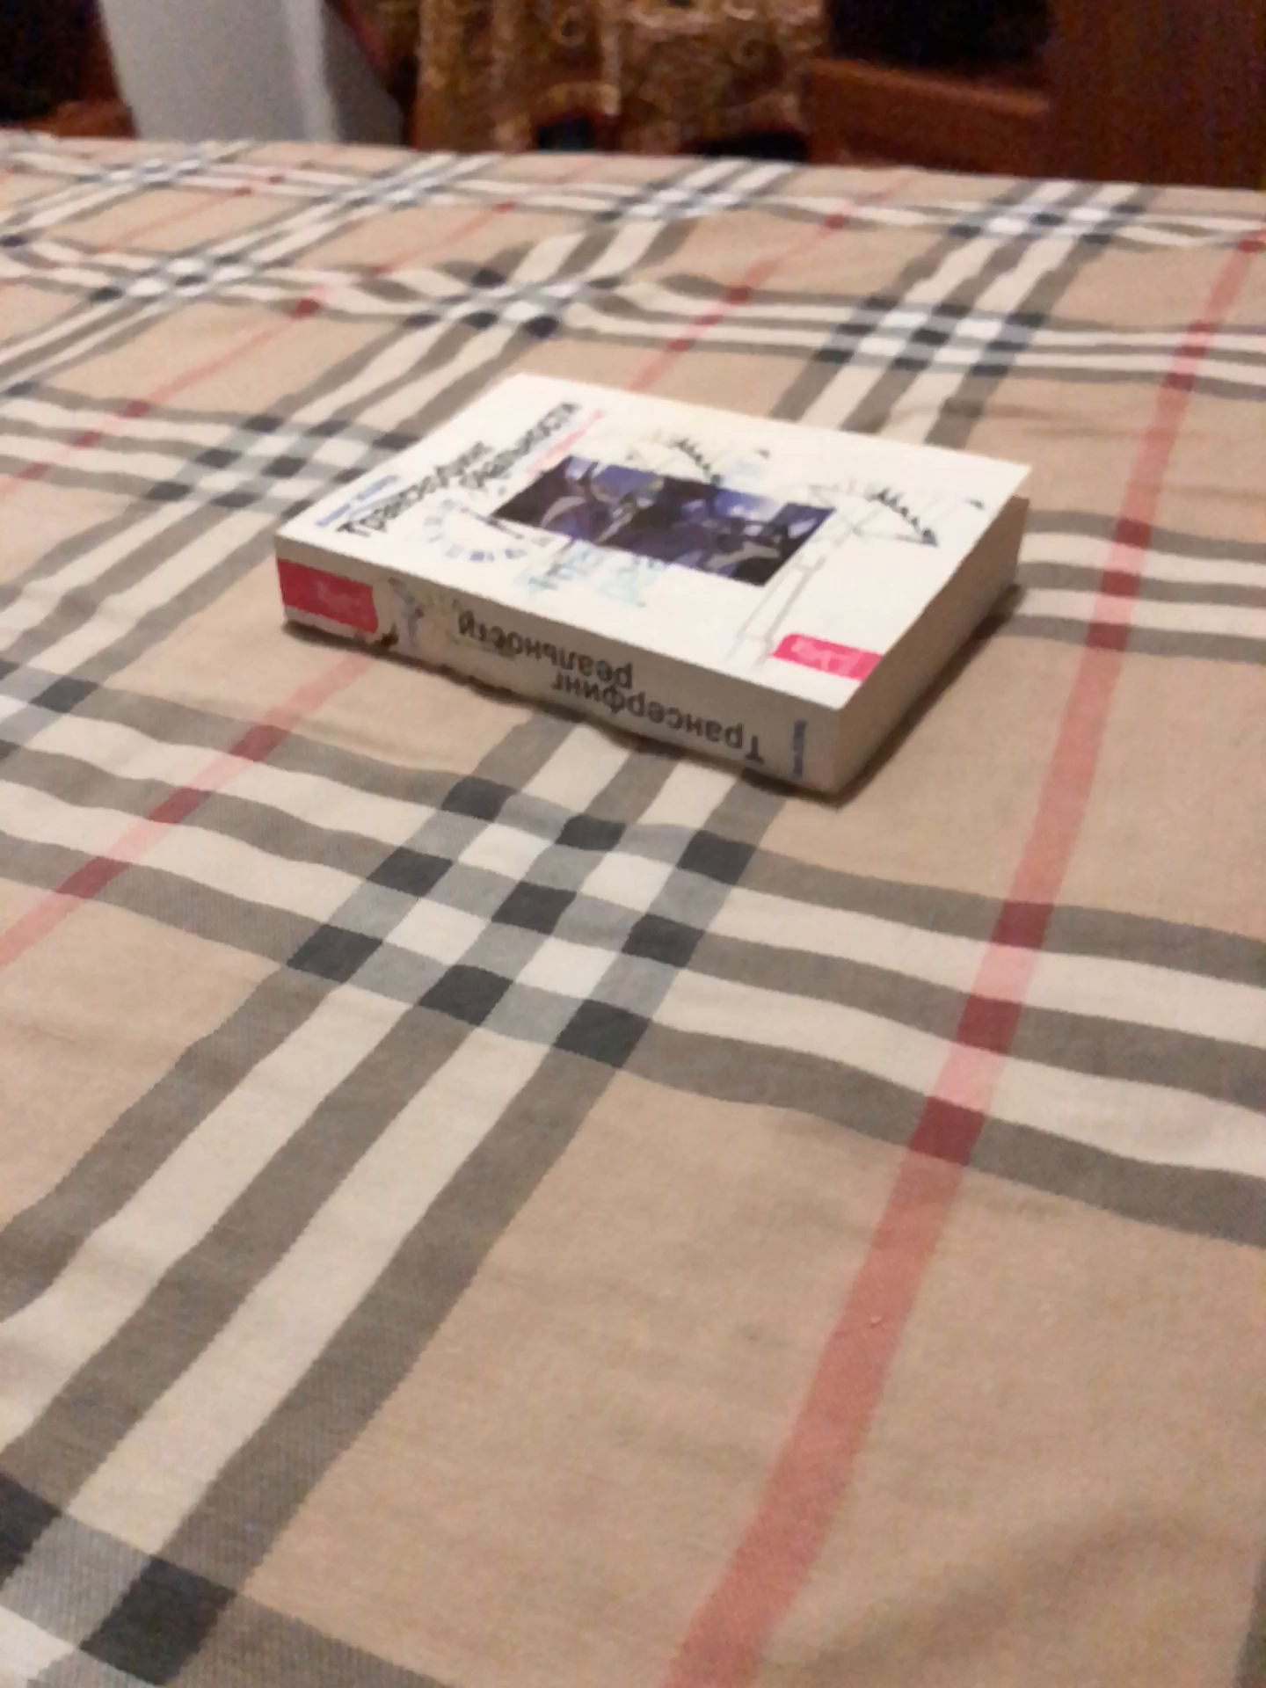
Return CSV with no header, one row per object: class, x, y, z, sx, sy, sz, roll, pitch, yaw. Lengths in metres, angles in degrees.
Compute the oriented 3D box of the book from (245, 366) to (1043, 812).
book,0.005,-0.093,0.446,0.202,0.037,0.143,20,43,25
